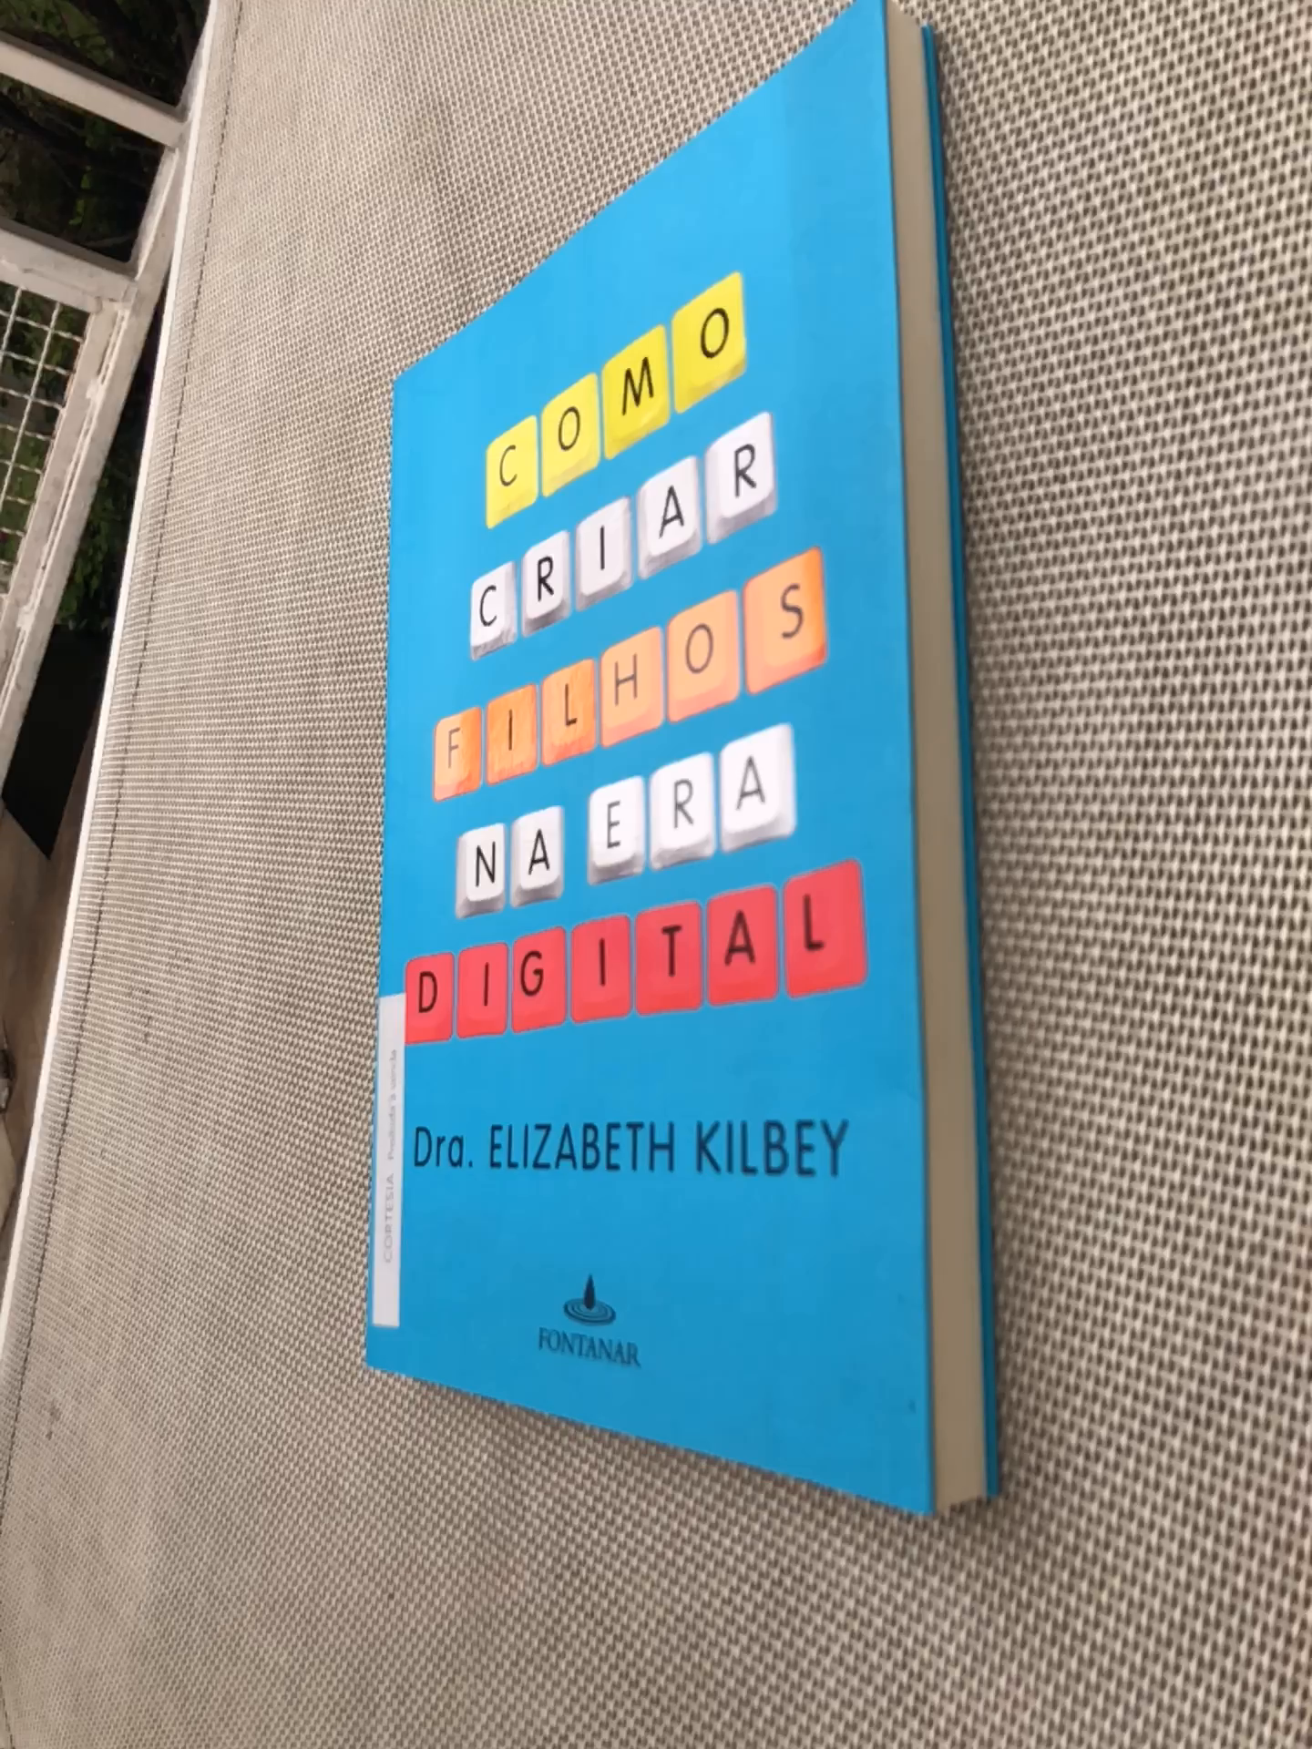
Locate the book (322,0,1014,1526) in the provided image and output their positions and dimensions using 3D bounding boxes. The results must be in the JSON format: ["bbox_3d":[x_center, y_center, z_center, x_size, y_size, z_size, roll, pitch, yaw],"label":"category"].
[{"bbox_3d":[-0.011,-0.017,0.273,0.164,0.020,0.228,-13,74,49],"label":"book"}]
